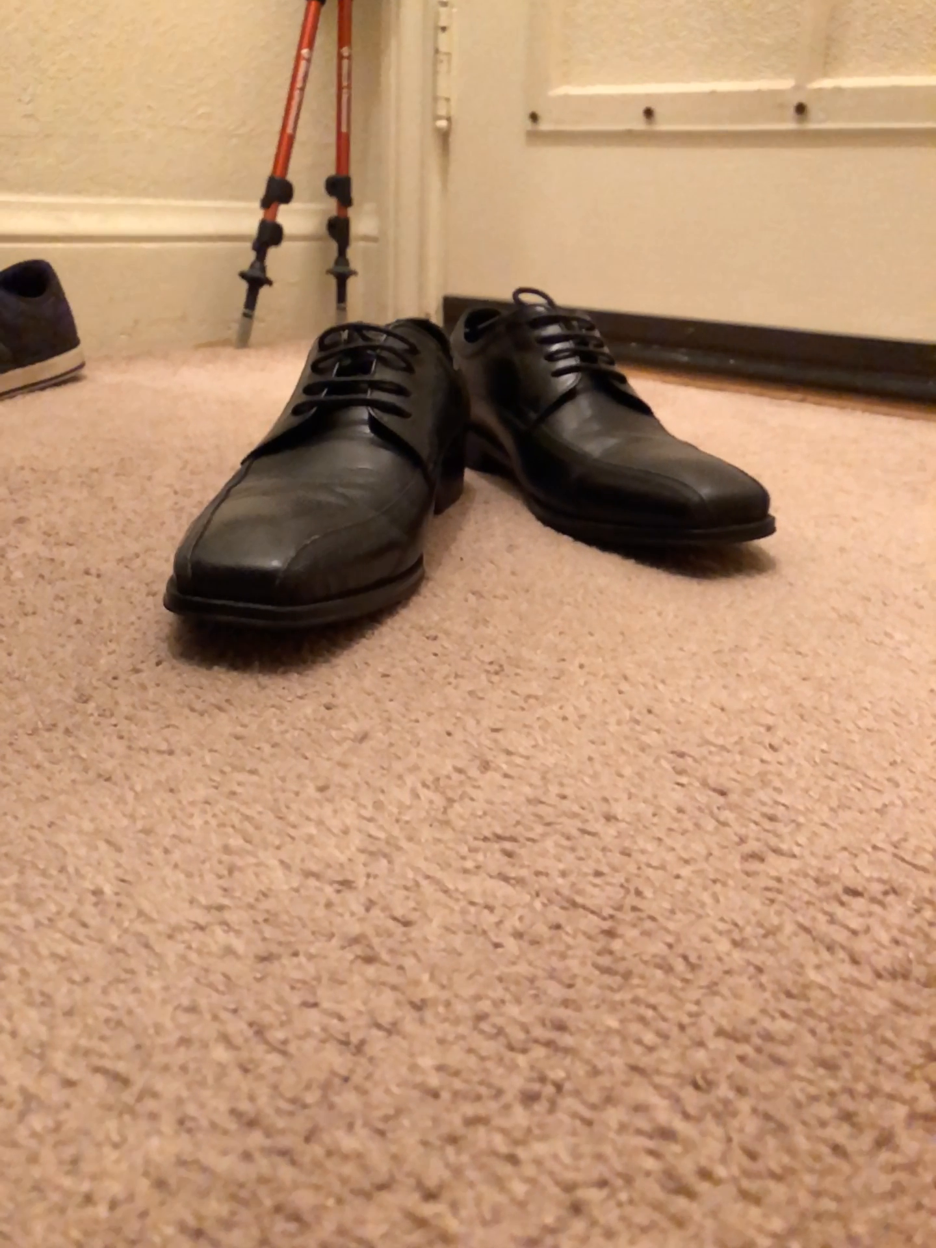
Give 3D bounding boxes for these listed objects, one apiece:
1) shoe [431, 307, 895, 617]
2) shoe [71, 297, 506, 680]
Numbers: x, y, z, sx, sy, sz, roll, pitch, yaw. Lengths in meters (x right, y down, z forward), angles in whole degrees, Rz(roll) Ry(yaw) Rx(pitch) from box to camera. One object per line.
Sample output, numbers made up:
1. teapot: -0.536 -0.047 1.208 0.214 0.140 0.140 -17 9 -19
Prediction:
1. shoe: 0.089 -0.116 0.618 0.115 0.110 0.298 -7 24 -23
2. shoe: -0.060 -0.087 0.501 0.110 0.107 0.284 6 23 9
